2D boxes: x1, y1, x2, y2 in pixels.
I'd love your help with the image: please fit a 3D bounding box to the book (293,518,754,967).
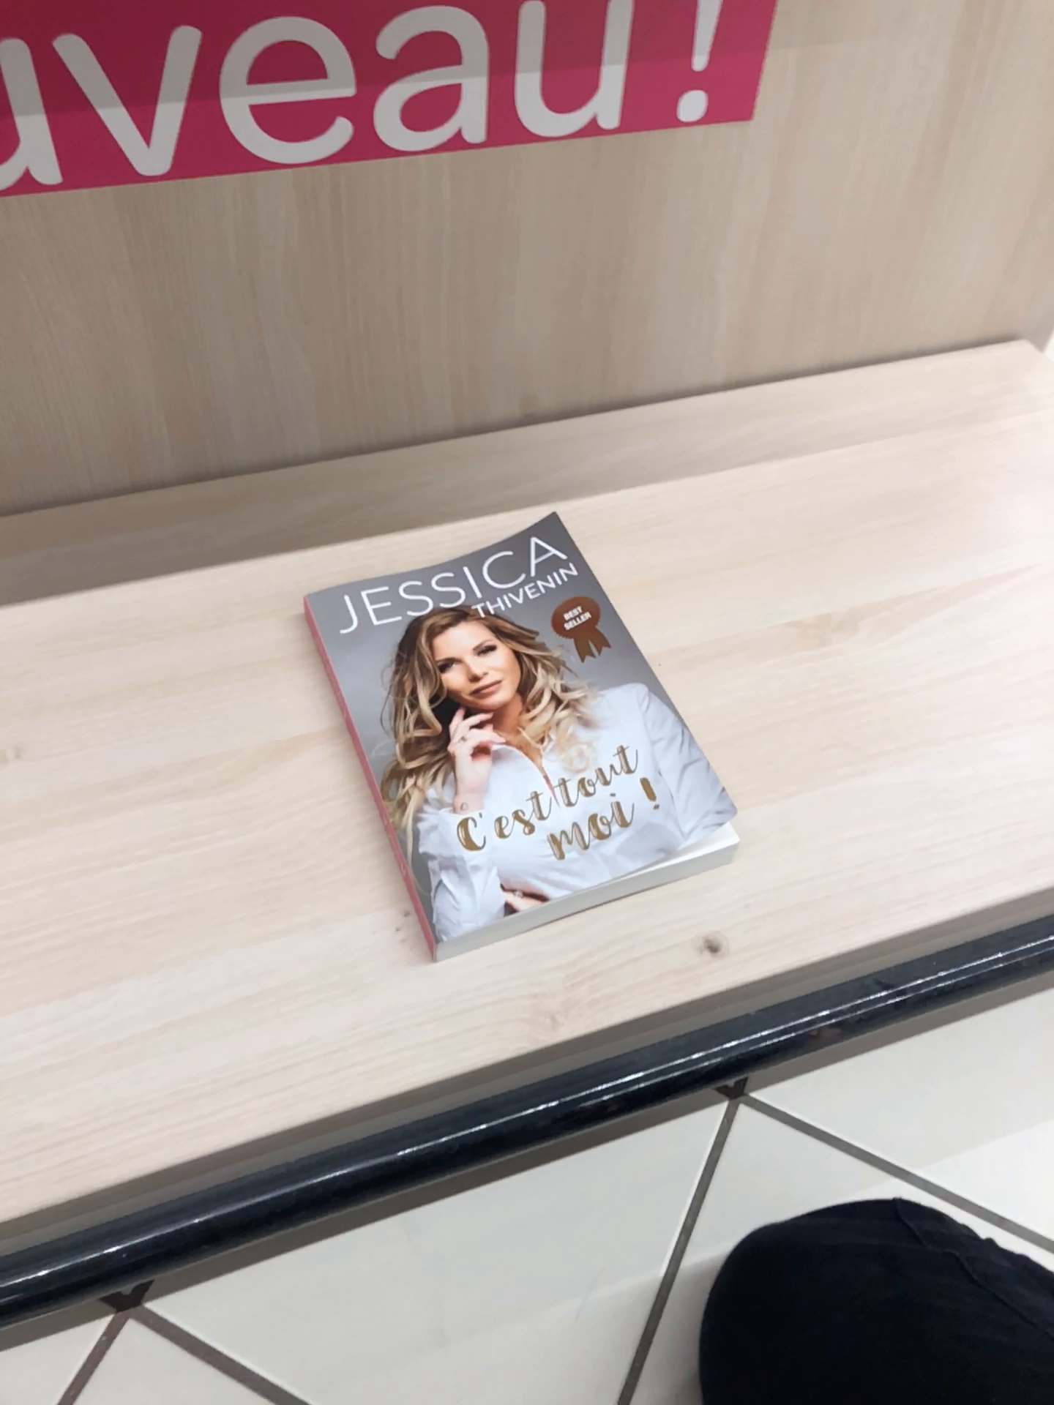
[{"bbox_3d":[-0.010,0.004,0.543,0.146,0.020,0.213,-15,54,-16],"label":"book"}]
